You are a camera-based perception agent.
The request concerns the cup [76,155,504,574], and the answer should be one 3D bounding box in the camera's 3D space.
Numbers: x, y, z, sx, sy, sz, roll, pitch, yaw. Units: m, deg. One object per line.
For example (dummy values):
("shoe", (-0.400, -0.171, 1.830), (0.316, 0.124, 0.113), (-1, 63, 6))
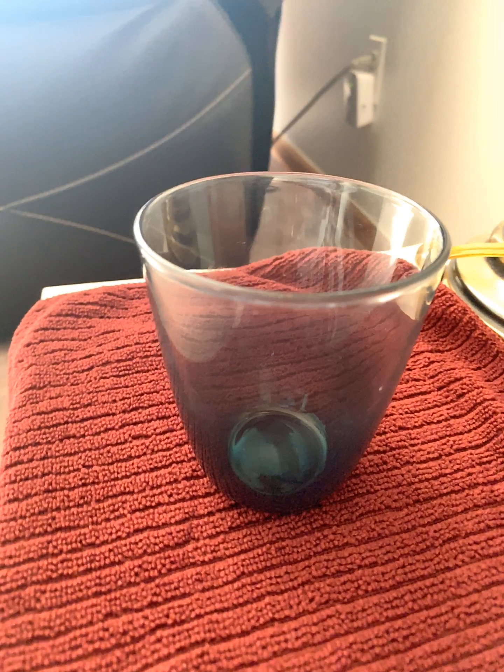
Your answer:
("cup", (0.008, -0.003, 0.162), (0.084, 0.070, 0.087), (2, 34, -1))
